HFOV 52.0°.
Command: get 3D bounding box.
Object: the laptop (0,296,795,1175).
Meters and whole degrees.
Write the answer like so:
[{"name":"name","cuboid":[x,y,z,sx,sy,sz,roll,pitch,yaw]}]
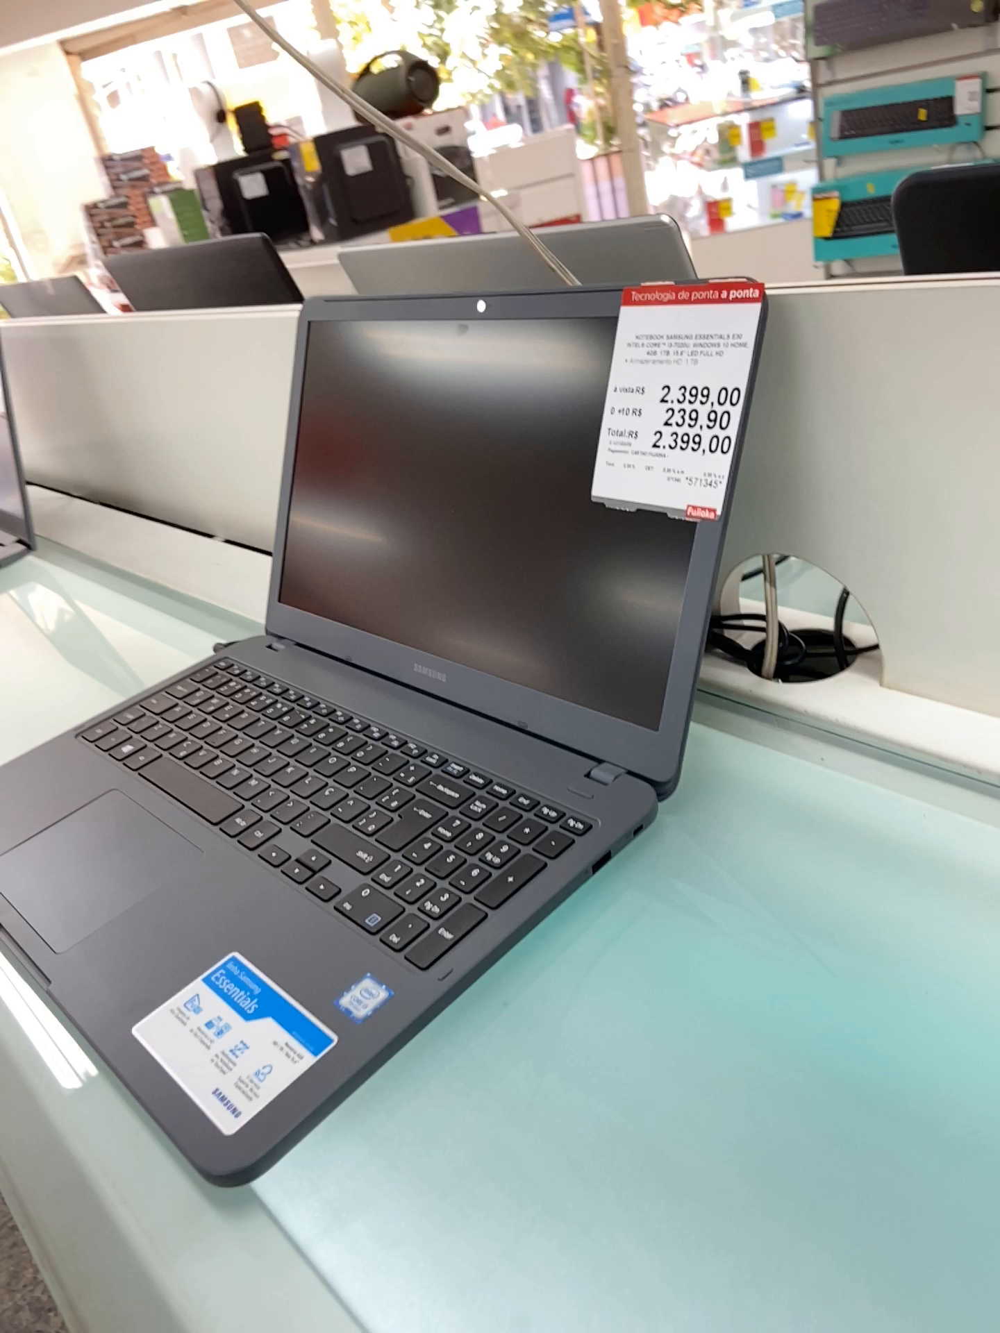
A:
[{"name":"laptop","cuboid":[-0.114,-0.036,0.521,0.352,0.197,0.361,-33,33,-33]}]
